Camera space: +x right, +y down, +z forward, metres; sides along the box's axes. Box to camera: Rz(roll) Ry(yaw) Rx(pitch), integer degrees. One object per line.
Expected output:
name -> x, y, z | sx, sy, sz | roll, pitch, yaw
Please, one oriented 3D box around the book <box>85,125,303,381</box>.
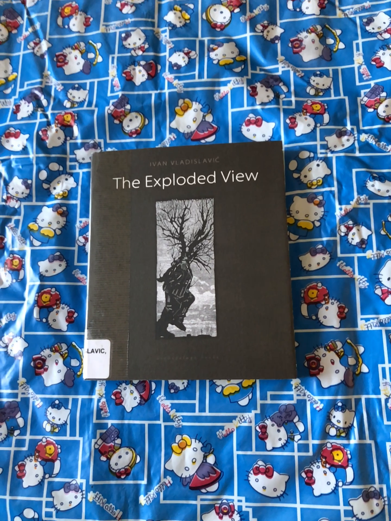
book -> -0.003, -0.005, 0.302 | 0.140, 0.020, 0.170 | -2, 80, 6
